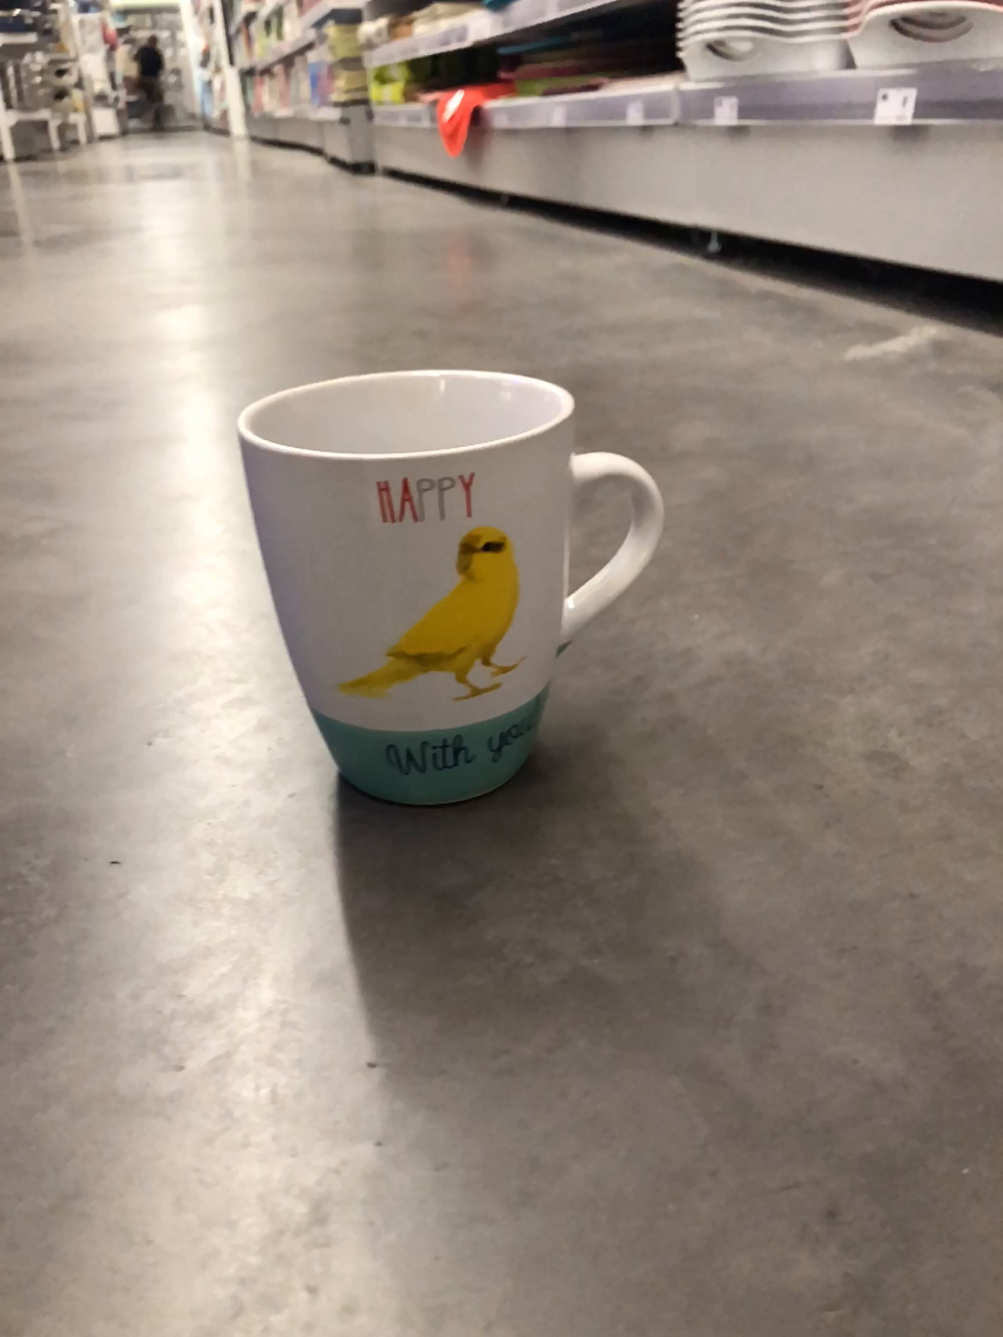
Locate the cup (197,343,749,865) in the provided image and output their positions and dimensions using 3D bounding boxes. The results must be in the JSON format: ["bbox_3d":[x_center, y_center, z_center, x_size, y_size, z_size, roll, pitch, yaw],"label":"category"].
[{"bbox_3d":[-0.012,-0.028,0.329,0.130,0.107,0.098,-10,27,-15],"label":"cup"}]
